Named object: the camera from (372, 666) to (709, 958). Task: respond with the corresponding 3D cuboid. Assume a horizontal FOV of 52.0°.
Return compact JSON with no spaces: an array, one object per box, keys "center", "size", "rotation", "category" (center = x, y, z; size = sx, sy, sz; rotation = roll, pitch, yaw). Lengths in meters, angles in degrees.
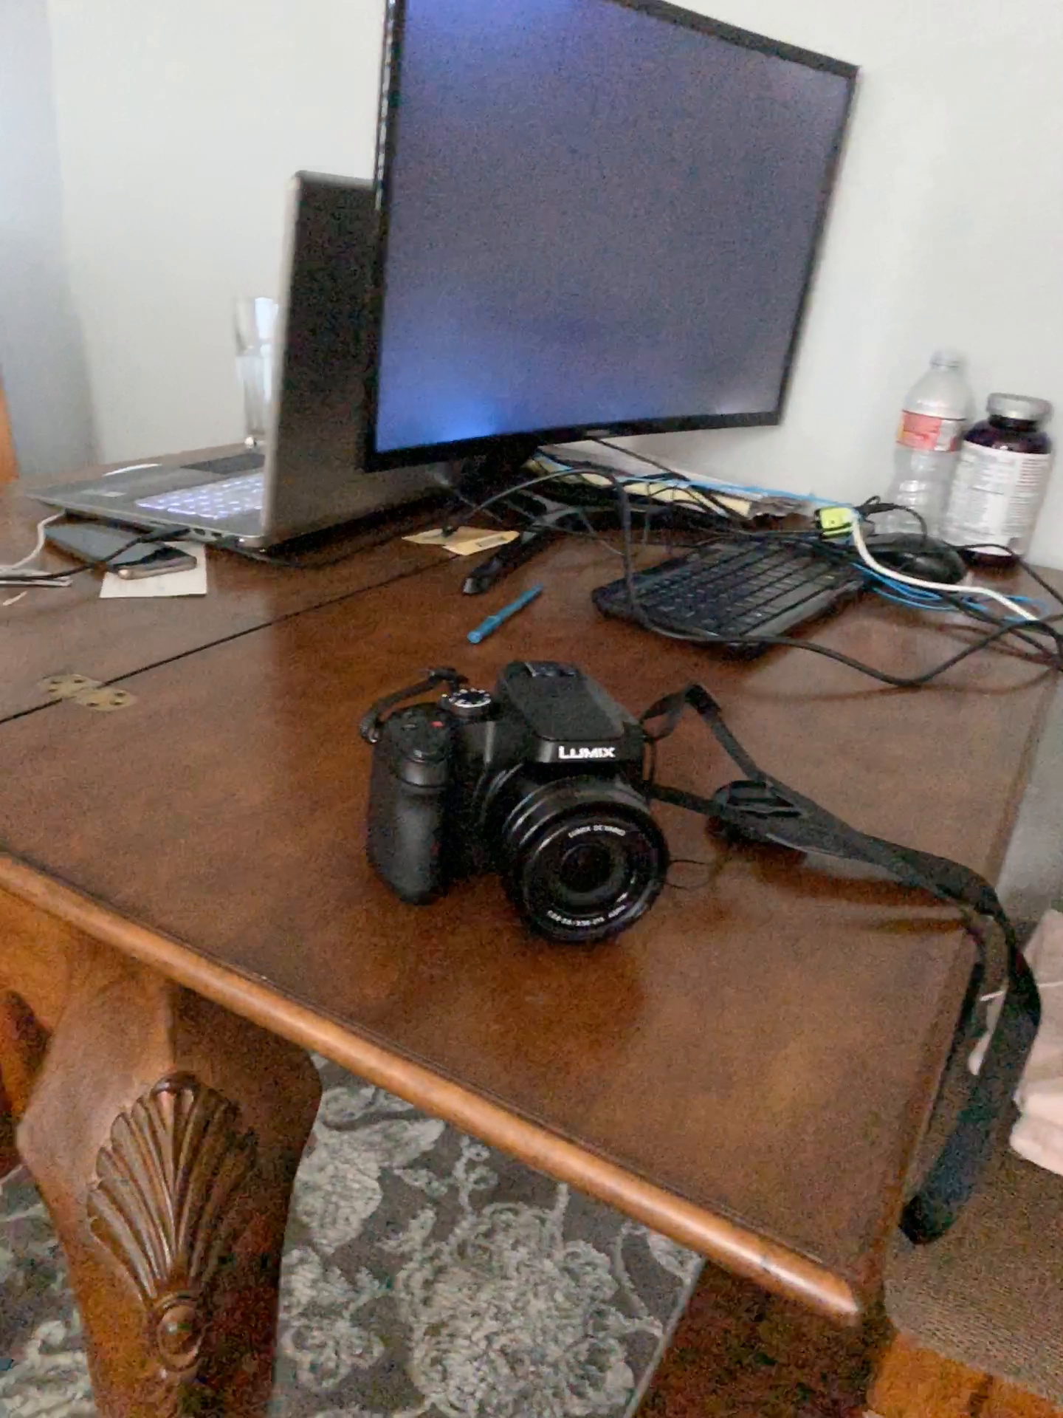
[{"center":[-0.003,0.043,0.525],"size":[0.130,0.089,0.111],"rotation":[-2,24,-16],"category":"camera"}]
